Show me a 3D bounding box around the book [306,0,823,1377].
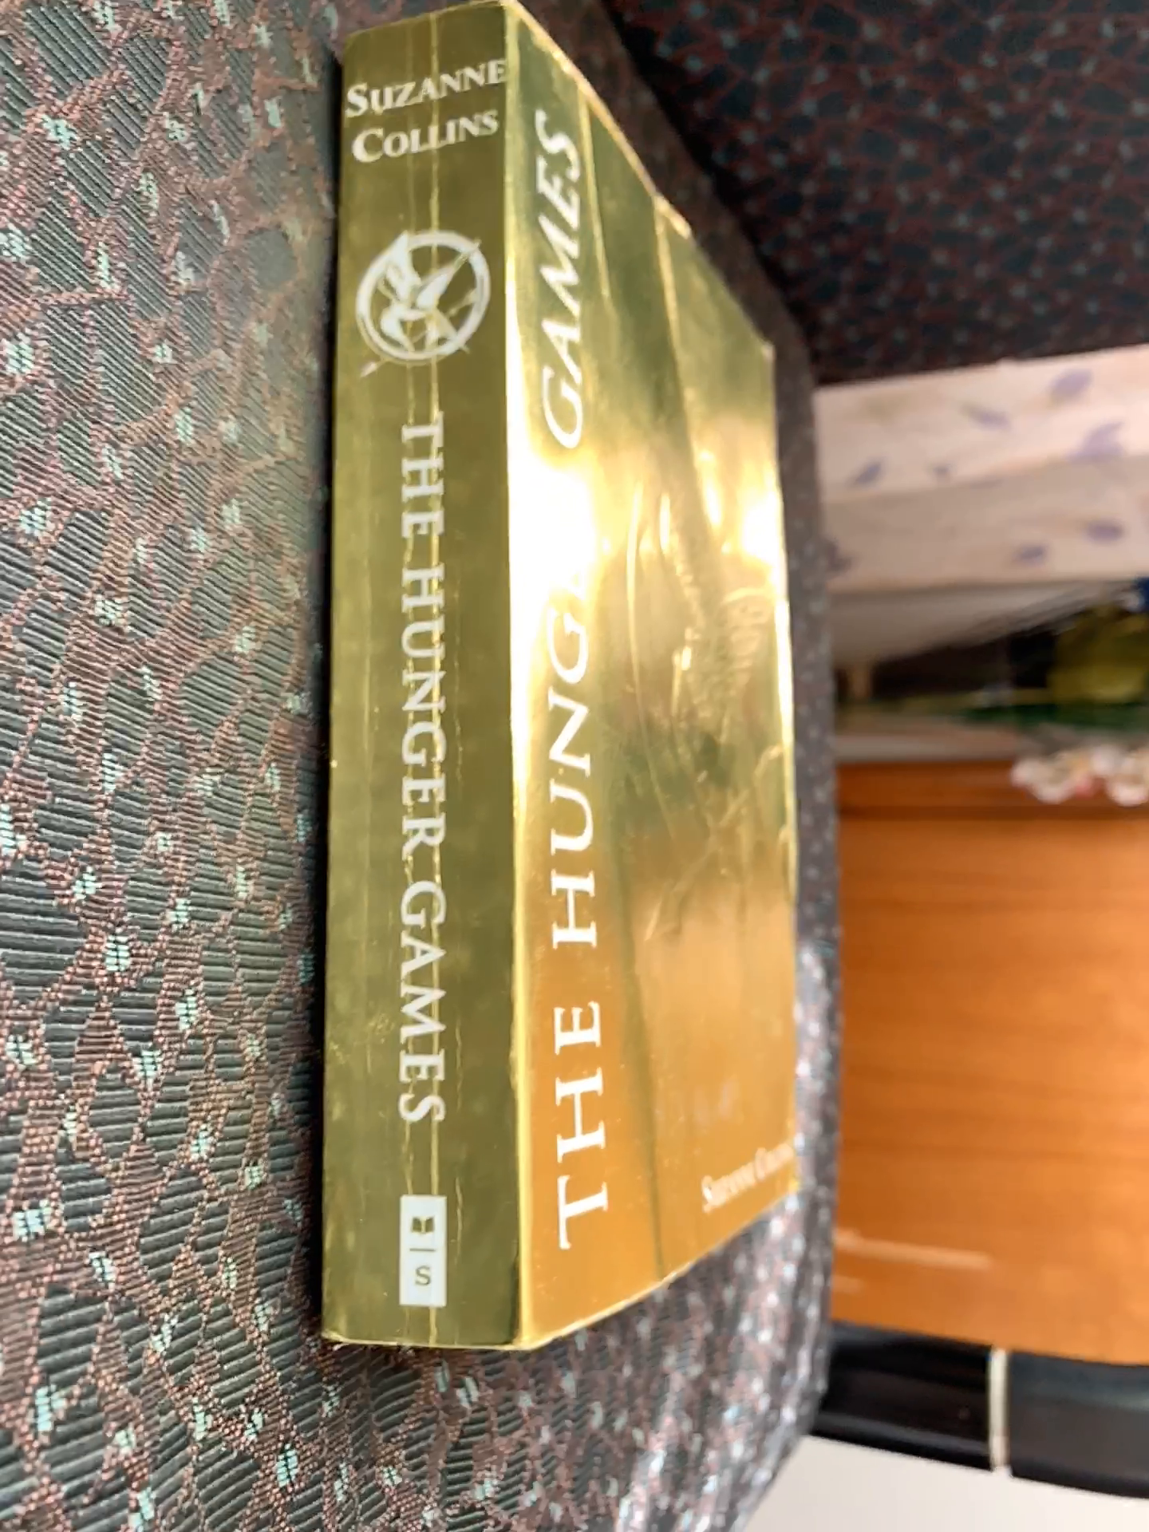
[{"bbox_3d":[0.008,-0.013,0.237,0.142,0.037,0.200,19,68,-64],"label":"book"}]
